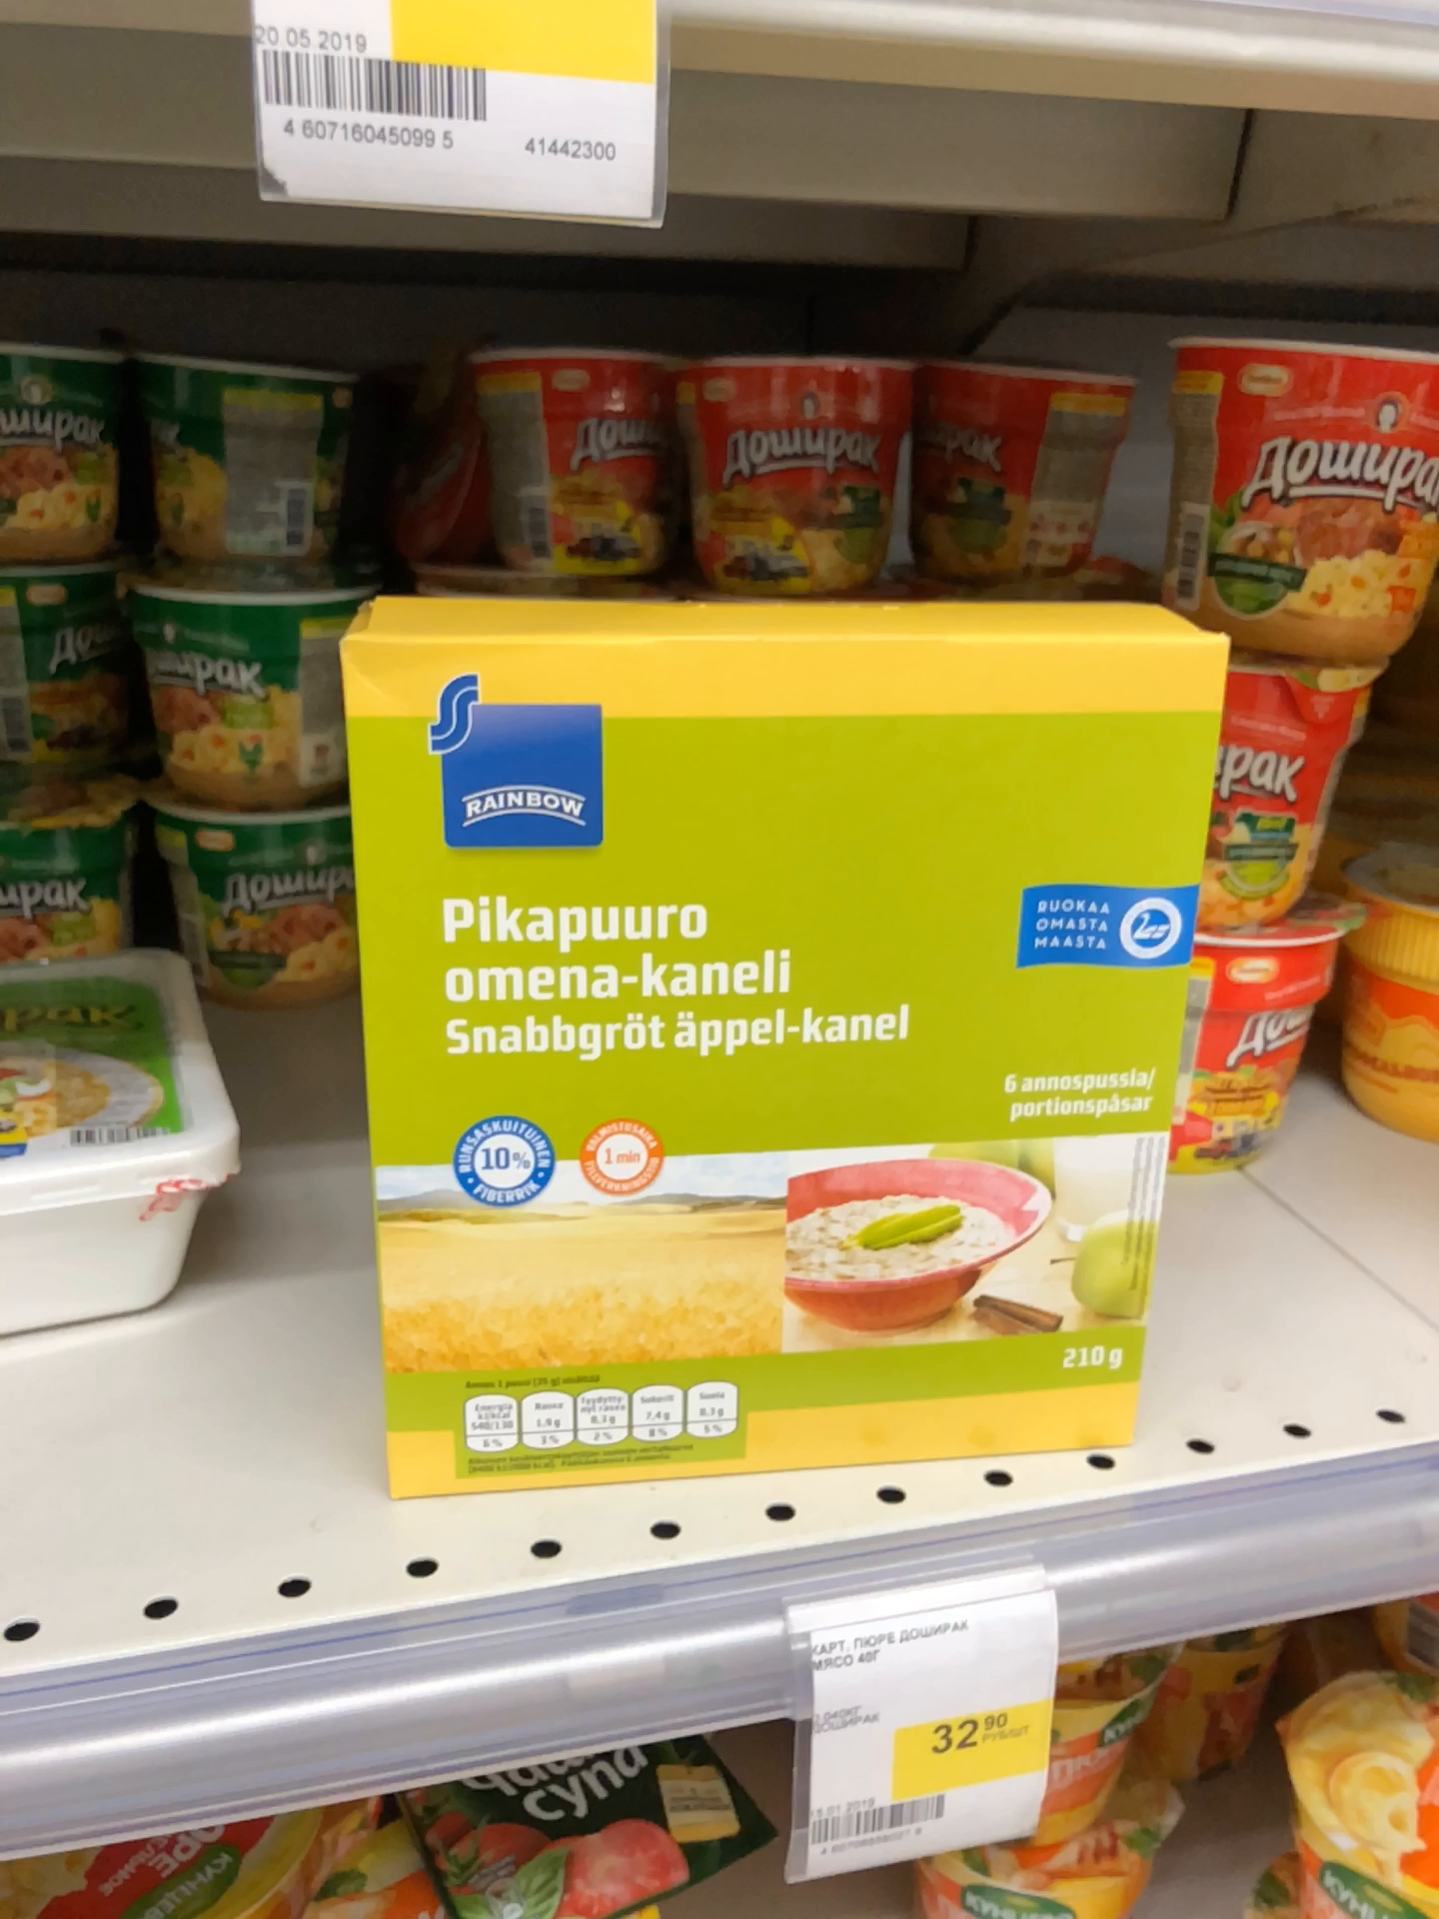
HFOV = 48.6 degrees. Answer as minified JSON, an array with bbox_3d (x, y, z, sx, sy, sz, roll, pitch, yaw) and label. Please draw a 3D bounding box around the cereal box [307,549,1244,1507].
[{"bbox_3d":[0.008,0.013,0.337,0.170,0.189,0.050,-2,18,-8],"label":"cereal box"}]
